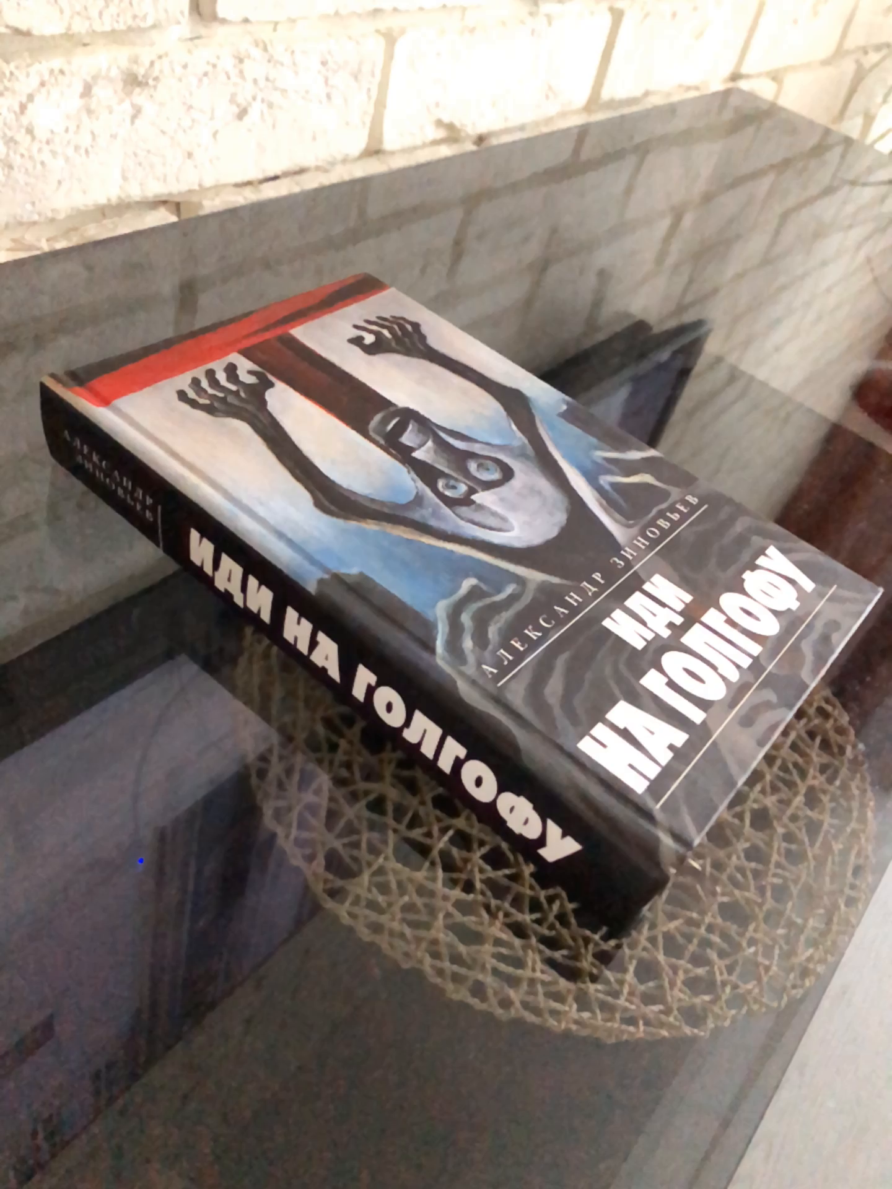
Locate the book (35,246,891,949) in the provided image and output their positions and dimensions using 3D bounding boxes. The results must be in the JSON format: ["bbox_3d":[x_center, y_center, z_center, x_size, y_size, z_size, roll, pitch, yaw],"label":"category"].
[{"bbox_3d":[0.011,-0.025,0.271,0.200,0.030,0.141,37,46,21],"label":"book"}]
